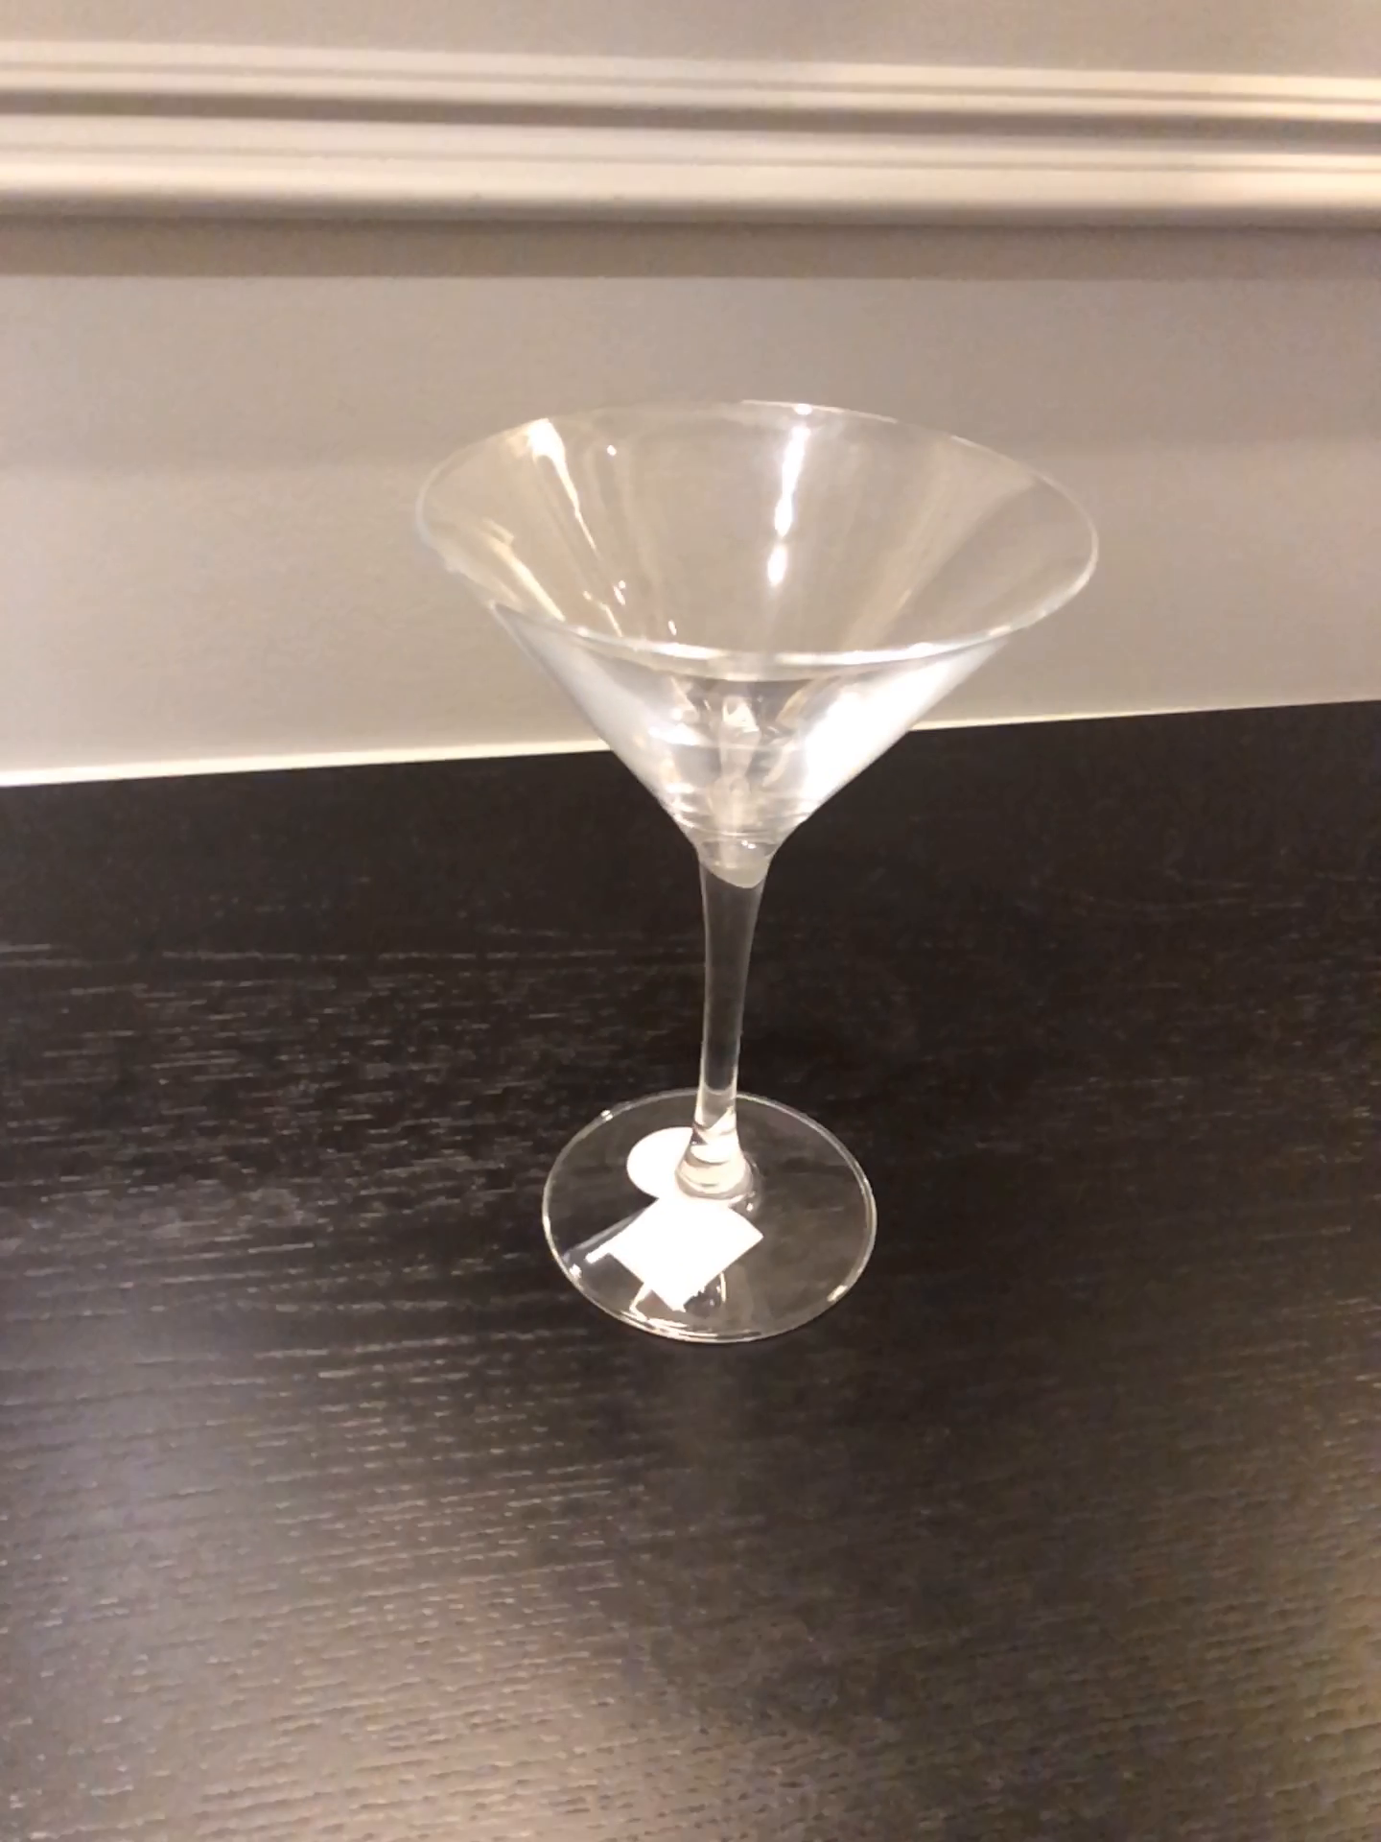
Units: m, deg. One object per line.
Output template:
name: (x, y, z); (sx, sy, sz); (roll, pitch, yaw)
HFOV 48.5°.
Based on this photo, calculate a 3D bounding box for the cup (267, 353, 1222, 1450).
cup: (0.011, -0.012, 0.321); (0.130, 0.159, 0.120); (2, 35, -2)
